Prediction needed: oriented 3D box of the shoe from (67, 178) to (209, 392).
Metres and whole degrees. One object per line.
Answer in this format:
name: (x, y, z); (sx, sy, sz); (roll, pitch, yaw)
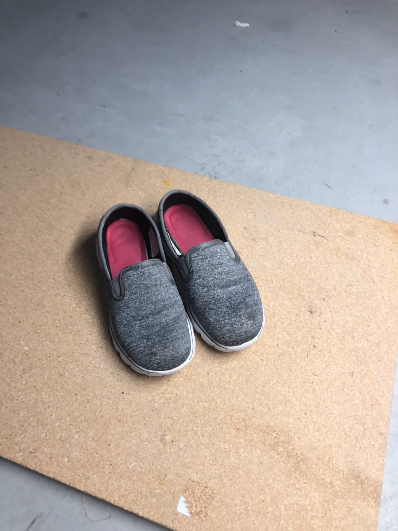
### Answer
shoe: (-0.081, 0.013, 0.546); (0.100, 0.070, 0.251); (-17, 57, -12)

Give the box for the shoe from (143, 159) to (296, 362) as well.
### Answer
shoe: (0.016, -0.017, 0.571); (0.100, 0.073, 0.251); (-17, 57, -12)
